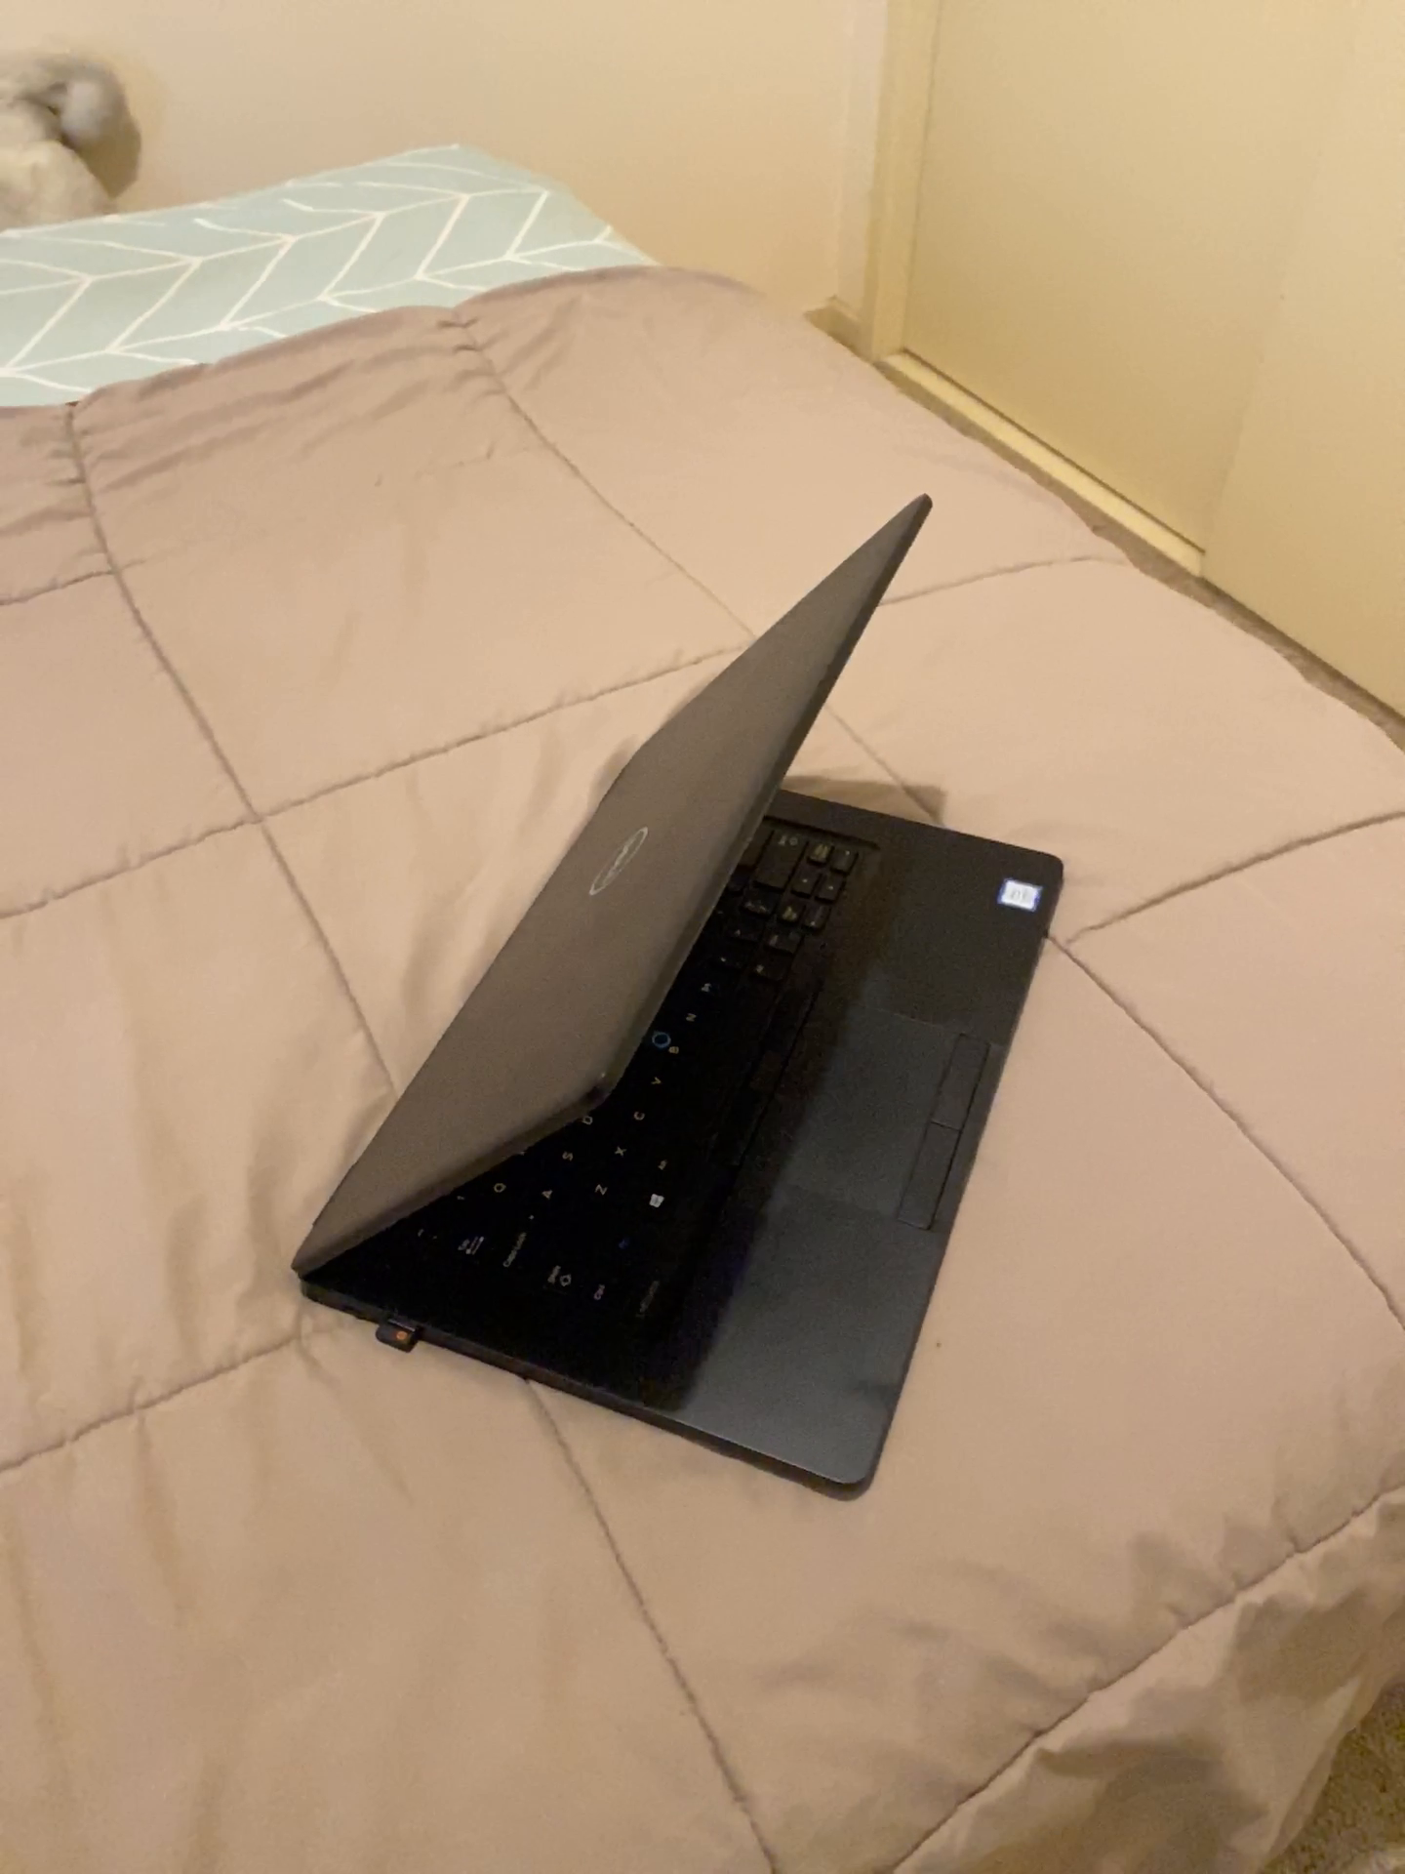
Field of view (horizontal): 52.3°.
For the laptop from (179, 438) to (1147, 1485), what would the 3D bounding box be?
[{"bbox_3d":[0.011,-0.017,0.567,0.226,0.183,0.336,16,48,16],"label":"laptop"}]
